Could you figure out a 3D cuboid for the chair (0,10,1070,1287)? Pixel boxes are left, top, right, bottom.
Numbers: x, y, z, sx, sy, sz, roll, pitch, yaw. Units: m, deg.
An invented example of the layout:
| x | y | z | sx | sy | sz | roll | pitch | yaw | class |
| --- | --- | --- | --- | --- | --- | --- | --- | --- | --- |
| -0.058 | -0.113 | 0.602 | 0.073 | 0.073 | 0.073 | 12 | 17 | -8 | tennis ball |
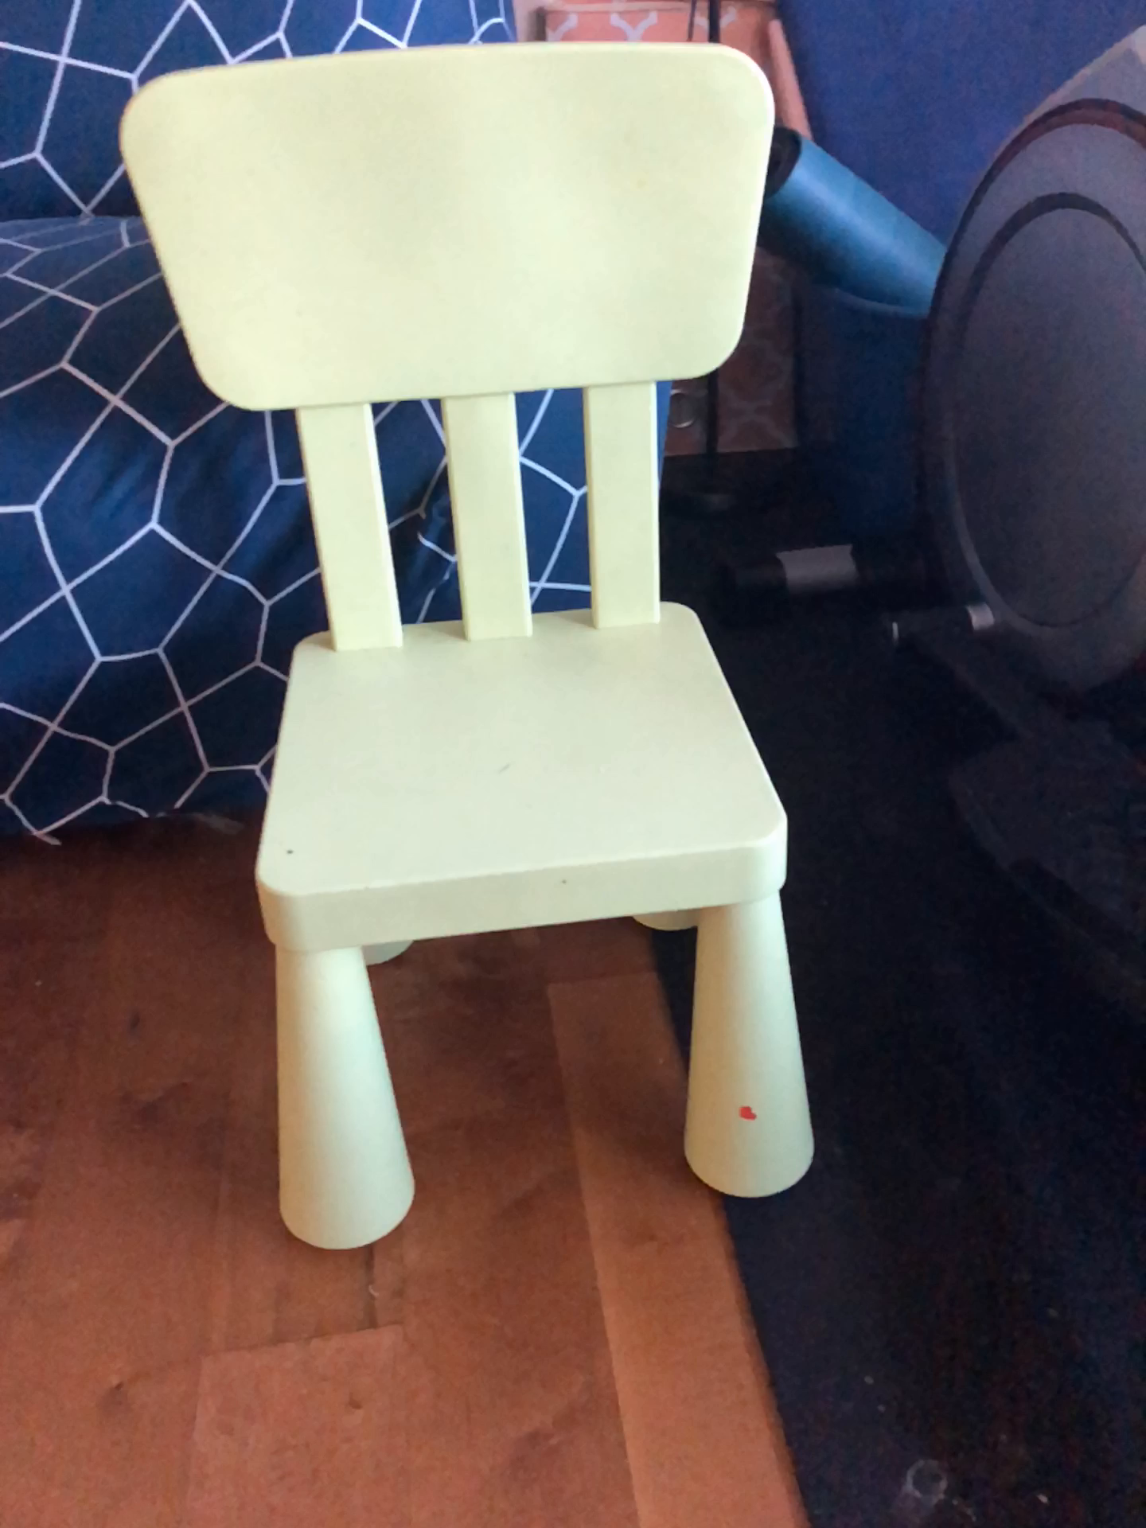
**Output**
| x | y | z | sx | sy | sz | roll | pitch | yaw | class |
| --- | --- | --- | --- | --- | --- | --- | --- | --- | --- |
| -0.040 | -0.077 | 0.775 | 0.390 | 0.635 | 0.413 | -6 | 35 | -7 | chair |
